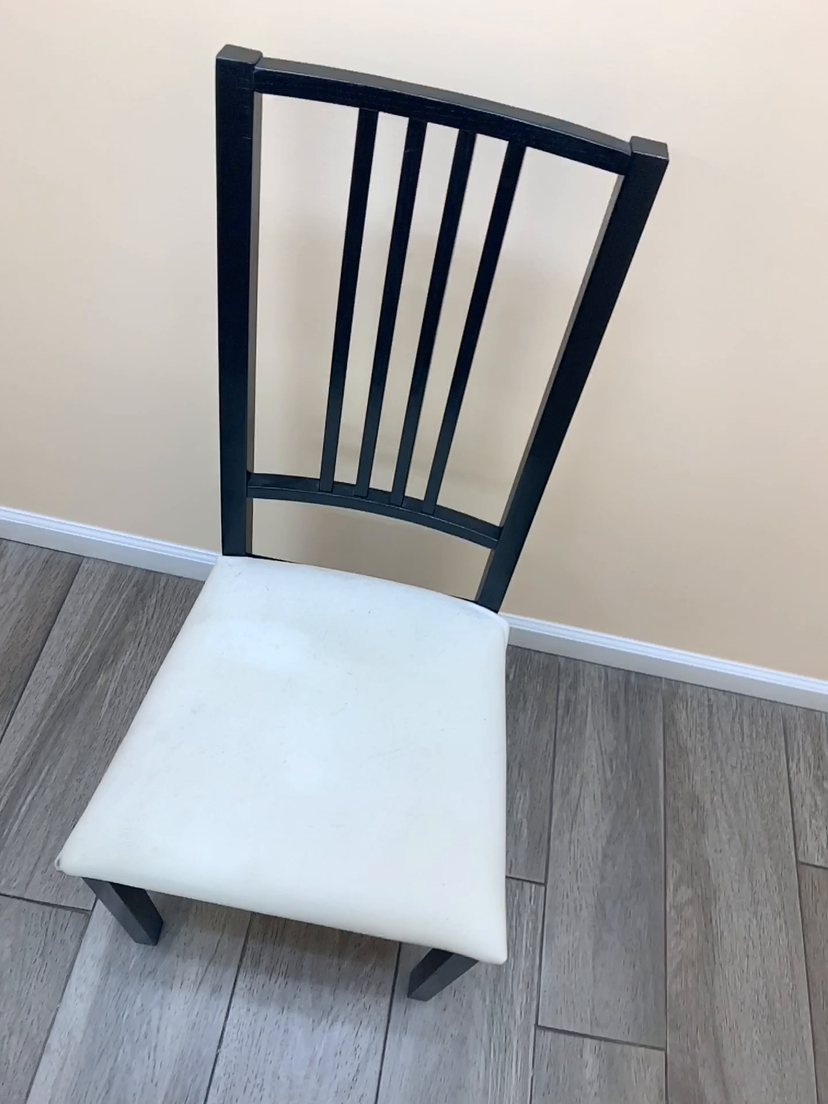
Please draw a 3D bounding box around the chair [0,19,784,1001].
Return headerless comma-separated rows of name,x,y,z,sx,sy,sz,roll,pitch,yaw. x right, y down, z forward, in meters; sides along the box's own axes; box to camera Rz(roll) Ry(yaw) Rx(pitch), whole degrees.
chair,-0.080,0.110,0.895,0.438,0.964,0.499,12,56,-1
